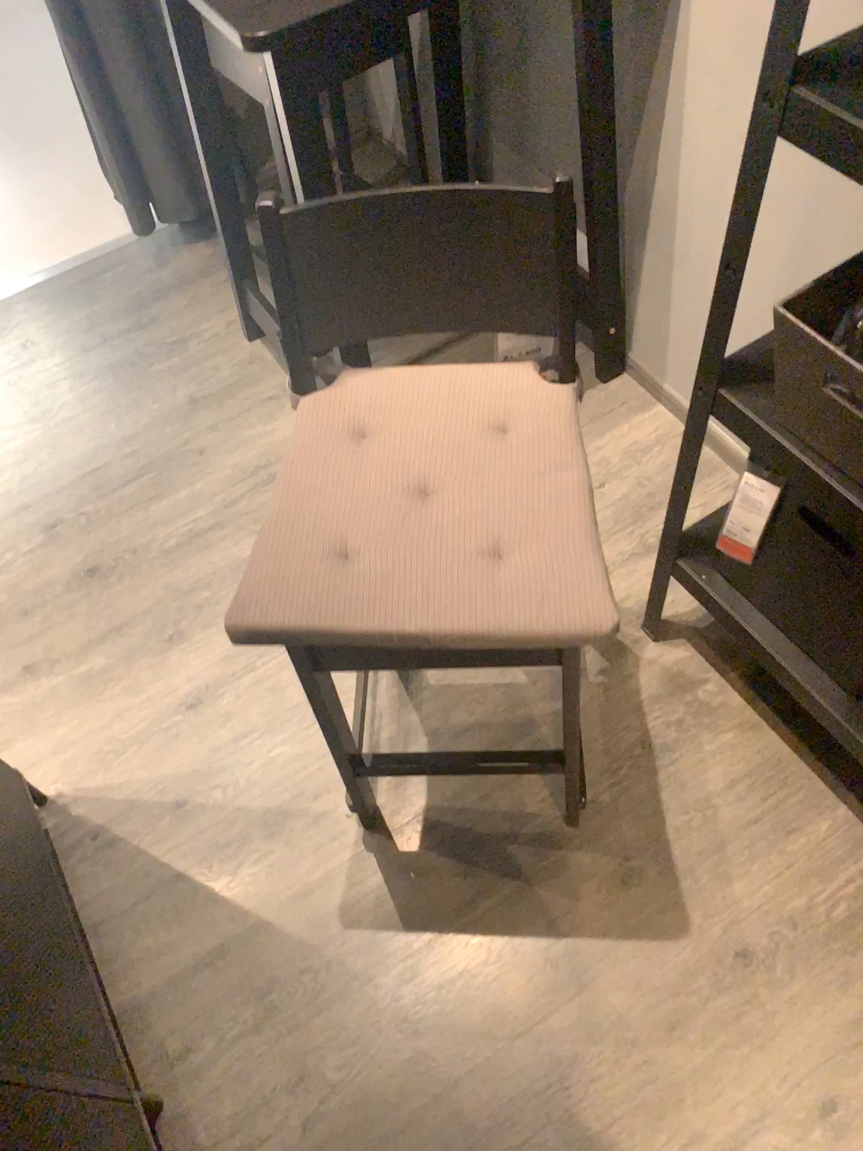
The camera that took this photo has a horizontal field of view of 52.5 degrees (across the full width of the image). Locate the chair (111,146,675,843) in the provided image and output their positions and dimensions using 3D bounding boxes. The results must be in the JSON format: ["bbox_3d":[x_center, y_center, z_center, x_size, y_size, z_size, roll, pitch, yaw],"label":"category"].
[{"bbox_3d":[0.010,-0.011,1.214,0.460,0.887,0.501,-2,57,5],"label":"chair"}]
